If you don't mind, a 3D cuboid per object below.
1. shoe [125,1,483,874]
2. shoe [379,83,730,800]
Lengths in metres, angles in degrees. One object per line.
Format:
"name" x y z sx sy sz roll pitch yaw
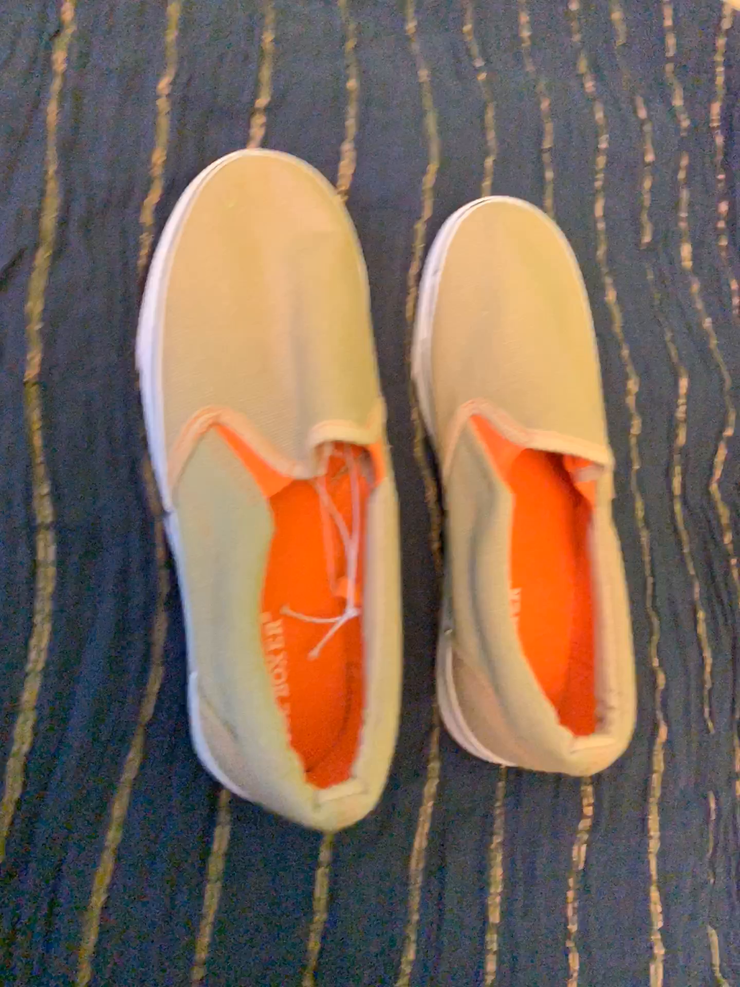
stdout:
"shoe" -0.031 -0.022 0.276 0.095 0.080 0.263 3 77 -25
"shoe" 0.071 -0.022 0.334 0.100 0.080 0.271 4 77 -25
